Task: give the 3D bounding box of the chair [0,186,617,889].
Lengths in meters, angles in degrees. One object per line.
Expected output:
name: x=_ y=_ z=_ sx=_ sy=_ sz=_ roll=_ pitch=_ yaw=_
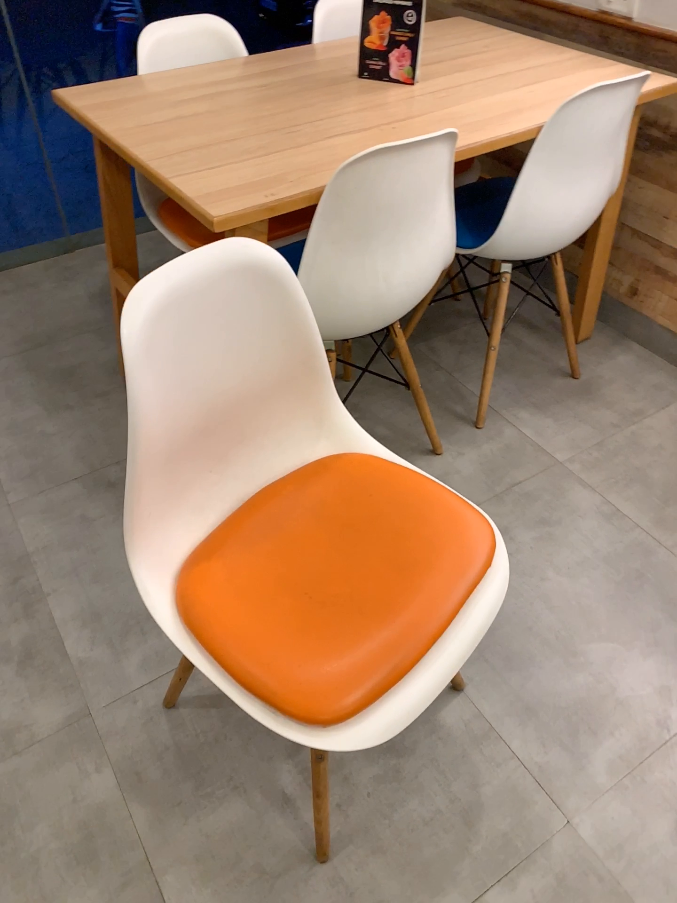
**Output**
chair: x=-0.030 y=0.125 z=0.941 sx=0.452 sy=0.724 sz=0.442 roll=31 pitch=51 yaw=28
